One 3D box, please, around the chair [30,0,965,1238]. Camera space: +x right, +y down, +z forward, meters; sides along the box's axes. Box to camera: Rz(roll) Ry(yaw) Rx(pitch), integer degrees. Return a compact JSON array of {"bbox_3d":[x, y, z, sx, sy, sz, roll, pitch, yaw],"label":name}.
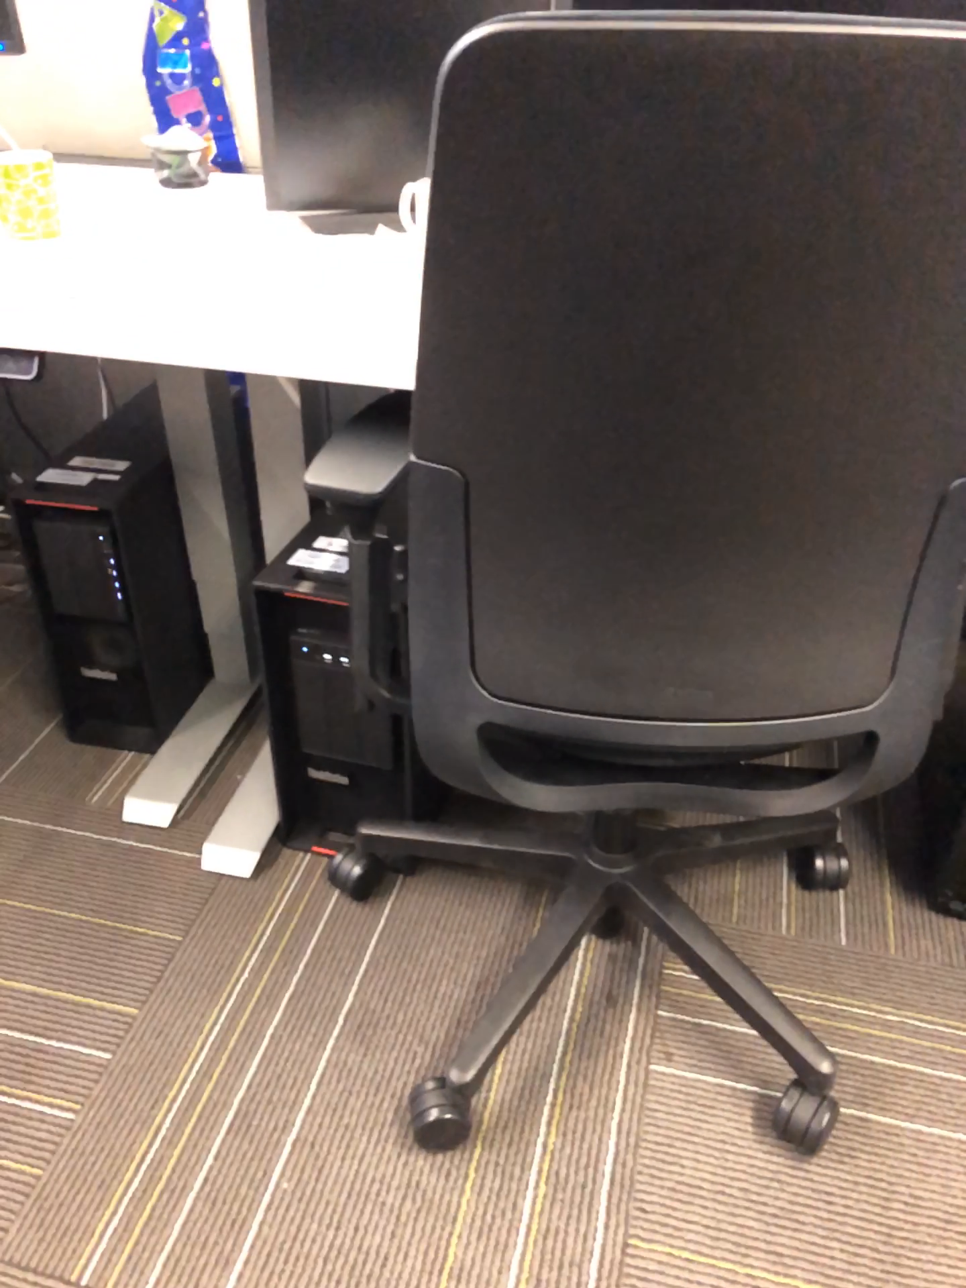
[{"bbox_3d":[0.153,-0.059,1.088,0.710,1.044,0.724,3,34,3],"label":"chair"}]
